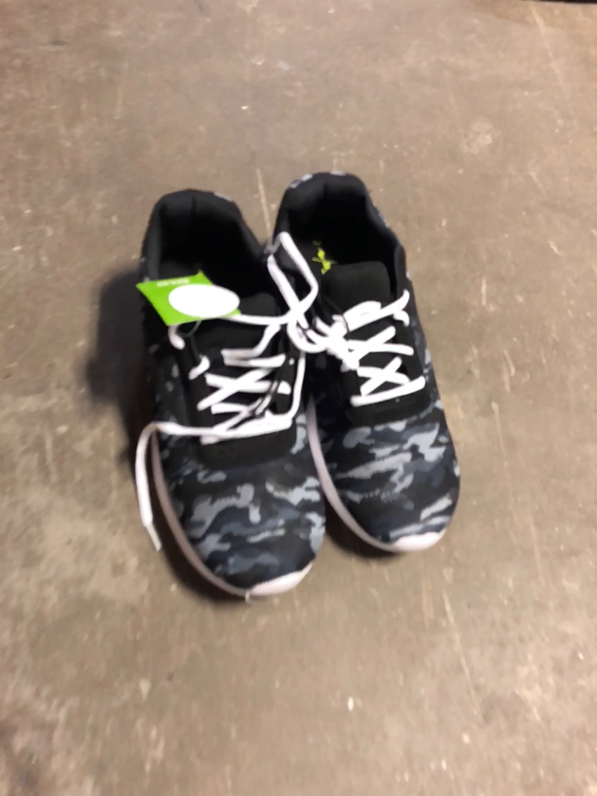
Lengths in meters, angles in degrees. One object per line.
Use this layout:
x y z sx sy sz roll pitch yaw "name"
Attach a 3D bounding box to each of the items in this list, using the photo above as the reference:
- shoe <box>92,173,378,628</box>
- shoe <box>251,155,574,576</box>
-0.055 -0.002 0.447 0.110 0.139 0.261 -12 62 -13 "shoe"
0.058 -0.028 0.484 0.120 0.139 0.261 -12 62 -13 "shoe"
